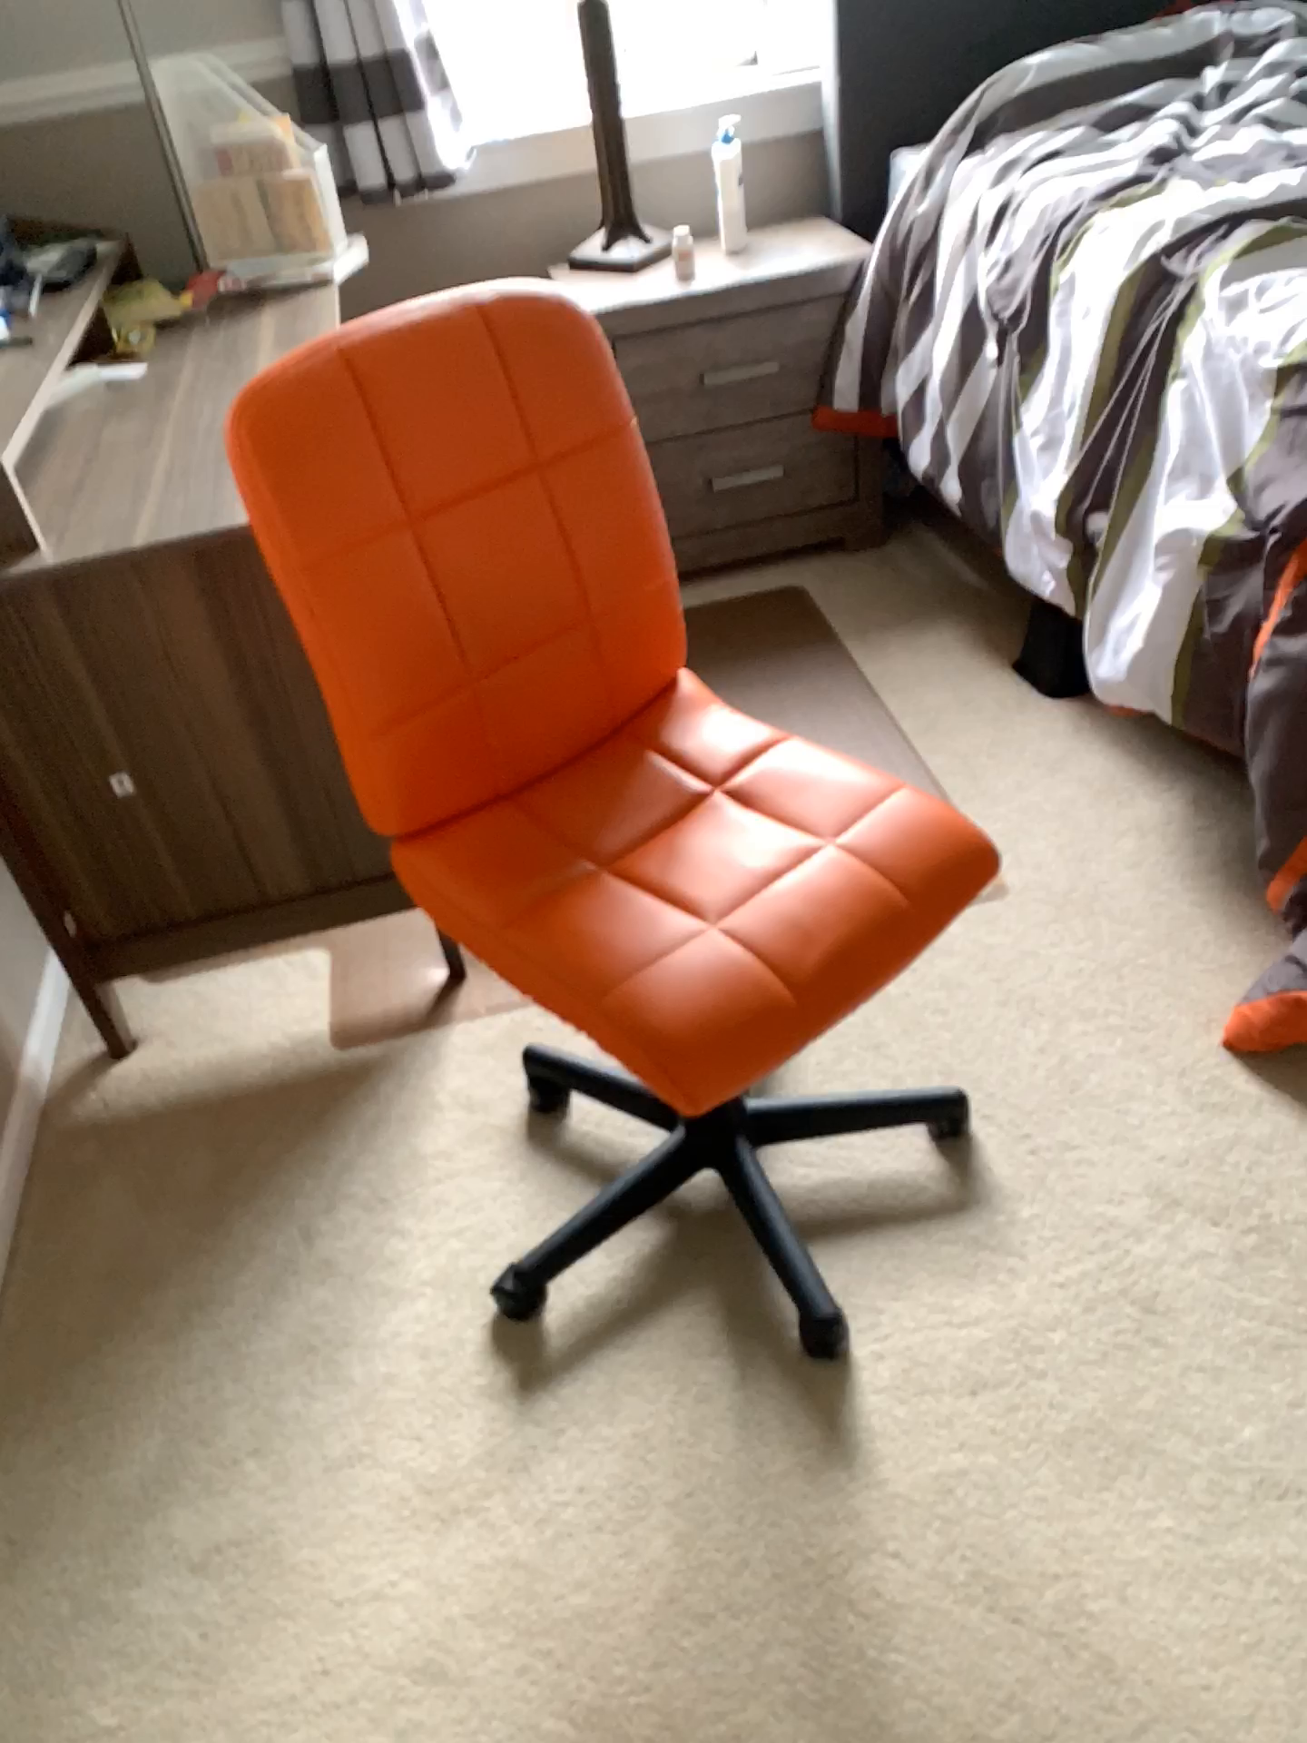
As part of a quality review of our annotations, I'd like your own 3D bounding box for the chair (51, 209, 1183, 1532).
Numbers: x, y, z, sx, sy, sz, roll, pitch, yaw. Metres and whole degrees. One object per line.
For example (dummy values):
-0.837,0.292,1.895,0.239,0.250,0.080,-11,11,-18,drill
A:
-0.001,-0.032,1.229,0.594,0.904,0.602,-30,42,-26,chair
